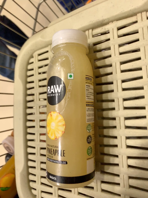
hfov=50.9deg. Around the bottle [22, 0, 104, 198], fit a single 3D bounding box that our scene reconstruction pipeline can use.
[{"bbox_3d":[-0.008,-0.001,0.159,0.060,0.050,0.160,-3,82,32],"label":"bottle"}]
